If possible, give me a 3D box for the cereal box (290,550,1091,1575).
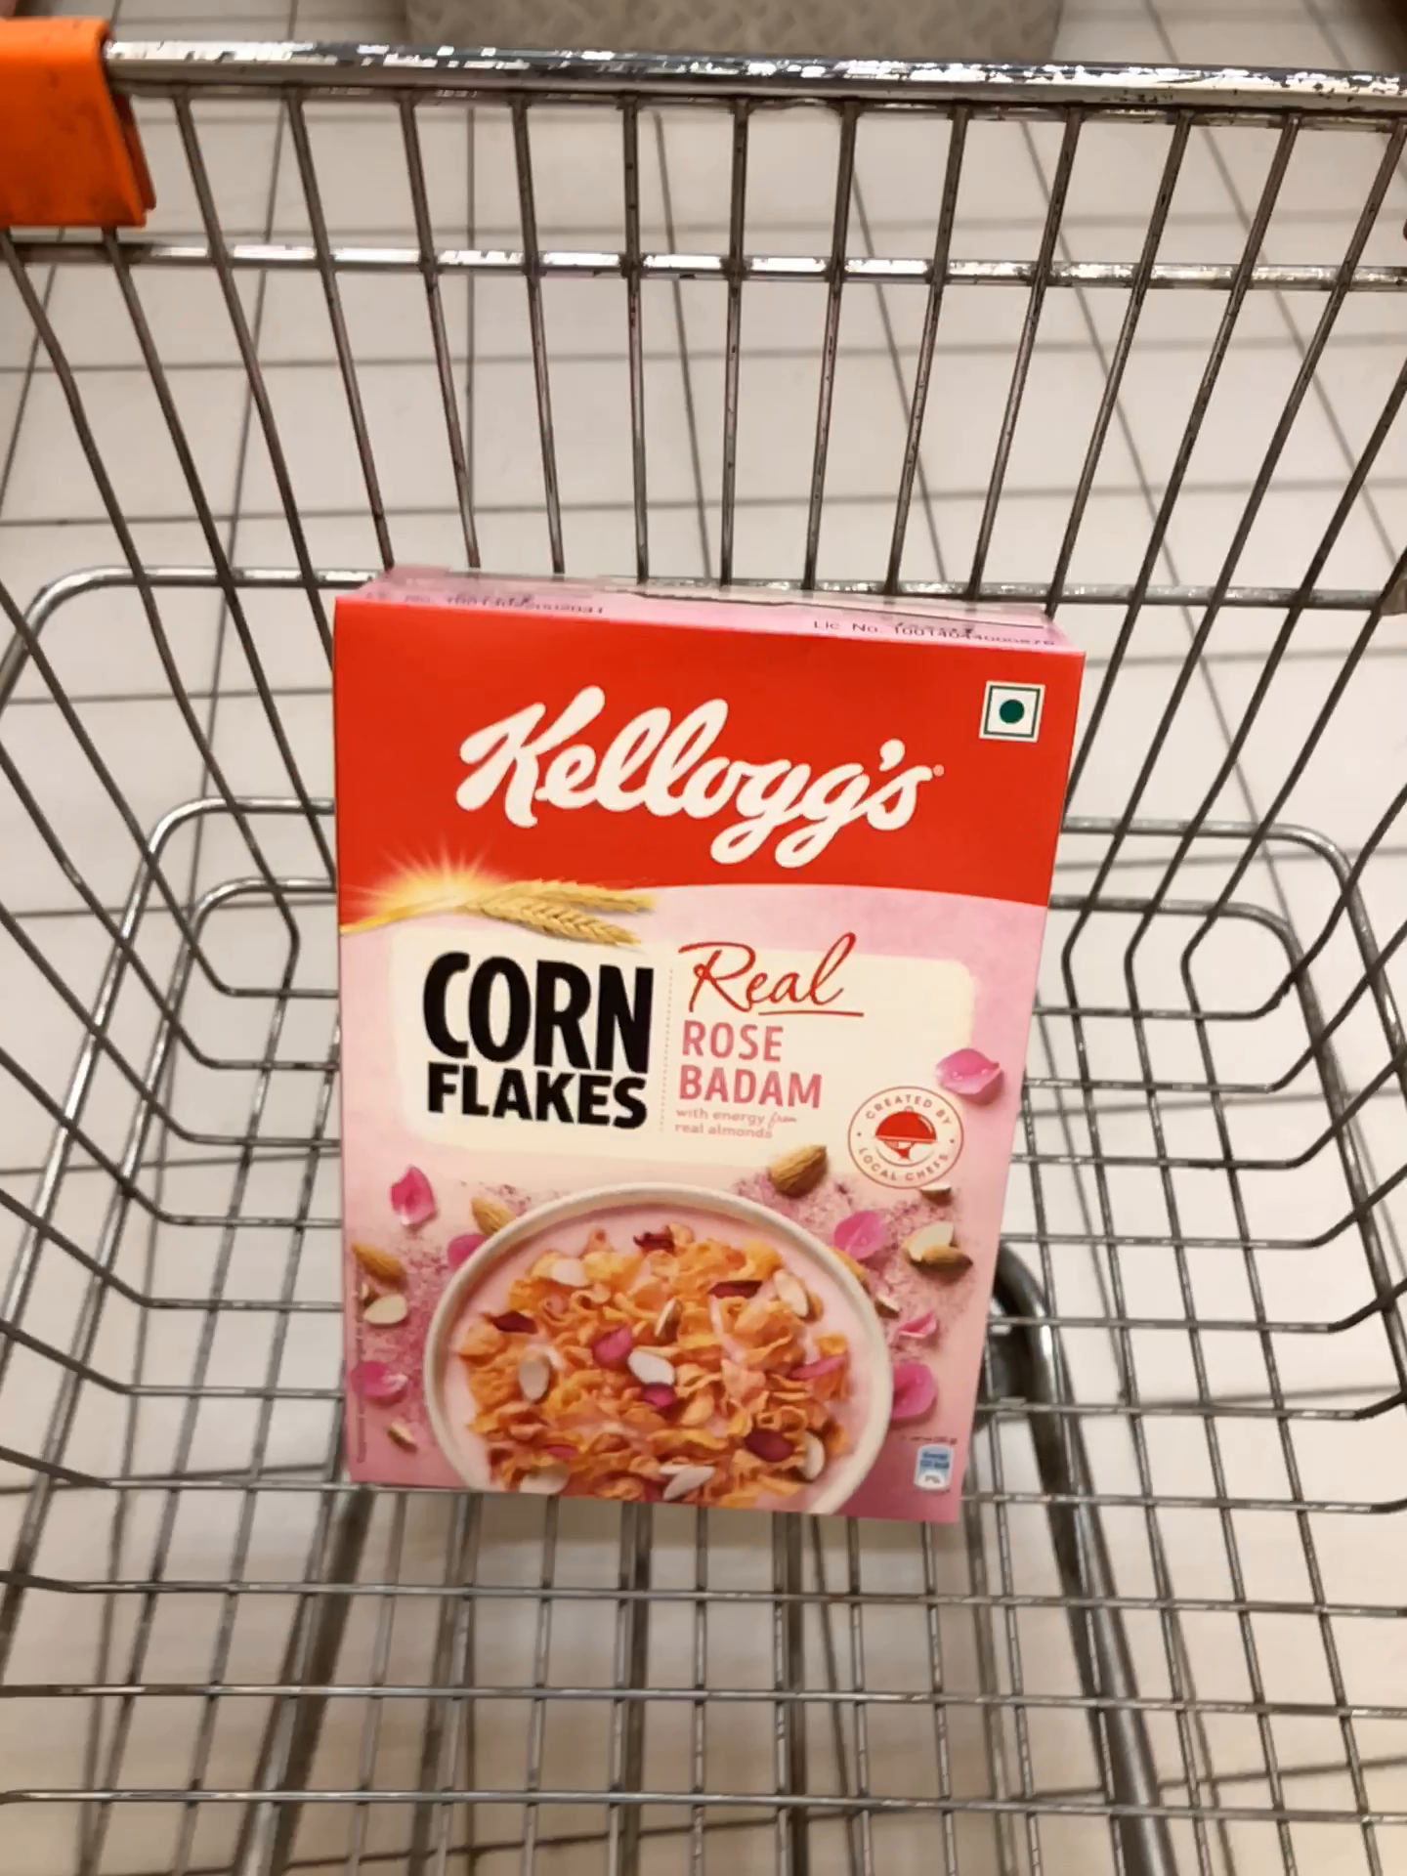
[{"bbox_3d":[-0.010,0.036,0.432,0.180,0.259,0.080,4,20,0],"label":"cereal box"}]
